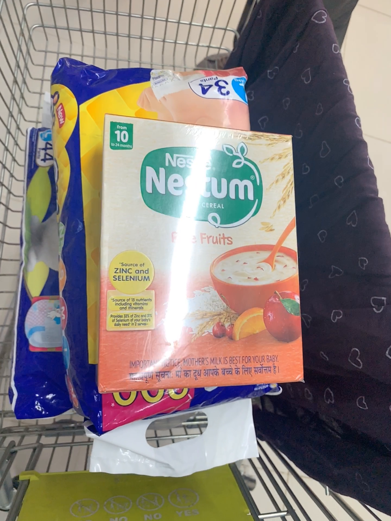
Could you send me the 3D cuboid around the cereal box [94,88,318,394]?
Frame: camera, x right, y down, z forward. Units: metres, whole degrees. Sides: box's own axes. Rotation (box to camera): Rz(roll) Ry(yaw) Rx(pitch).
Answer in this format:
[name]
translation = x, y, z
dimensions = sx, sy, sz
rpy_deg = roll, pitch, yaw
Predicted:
[cereal box]
translation = 0.006, -0.013, 0.317
dimensions = 0.160, 0.050, 0.210
rpy_deg = 2, 82, -14
